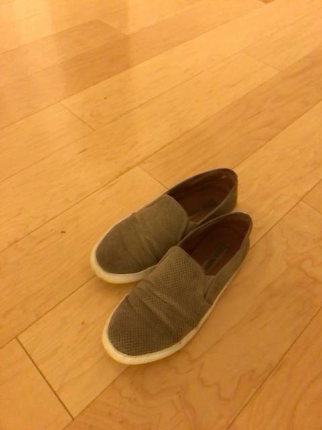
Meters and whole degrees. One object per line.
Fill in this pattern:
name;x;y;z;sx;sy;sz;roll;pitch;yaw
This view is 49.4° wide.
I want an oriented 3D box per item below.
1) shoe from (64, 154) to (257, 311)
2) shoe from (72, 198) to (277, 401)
shoe;0.007;0.014;0.547;0.281;0.060;0.110;-31;60;-24
shoe;0.029;0.097;0.484;0.110;0.050;0.281;38;60;24
